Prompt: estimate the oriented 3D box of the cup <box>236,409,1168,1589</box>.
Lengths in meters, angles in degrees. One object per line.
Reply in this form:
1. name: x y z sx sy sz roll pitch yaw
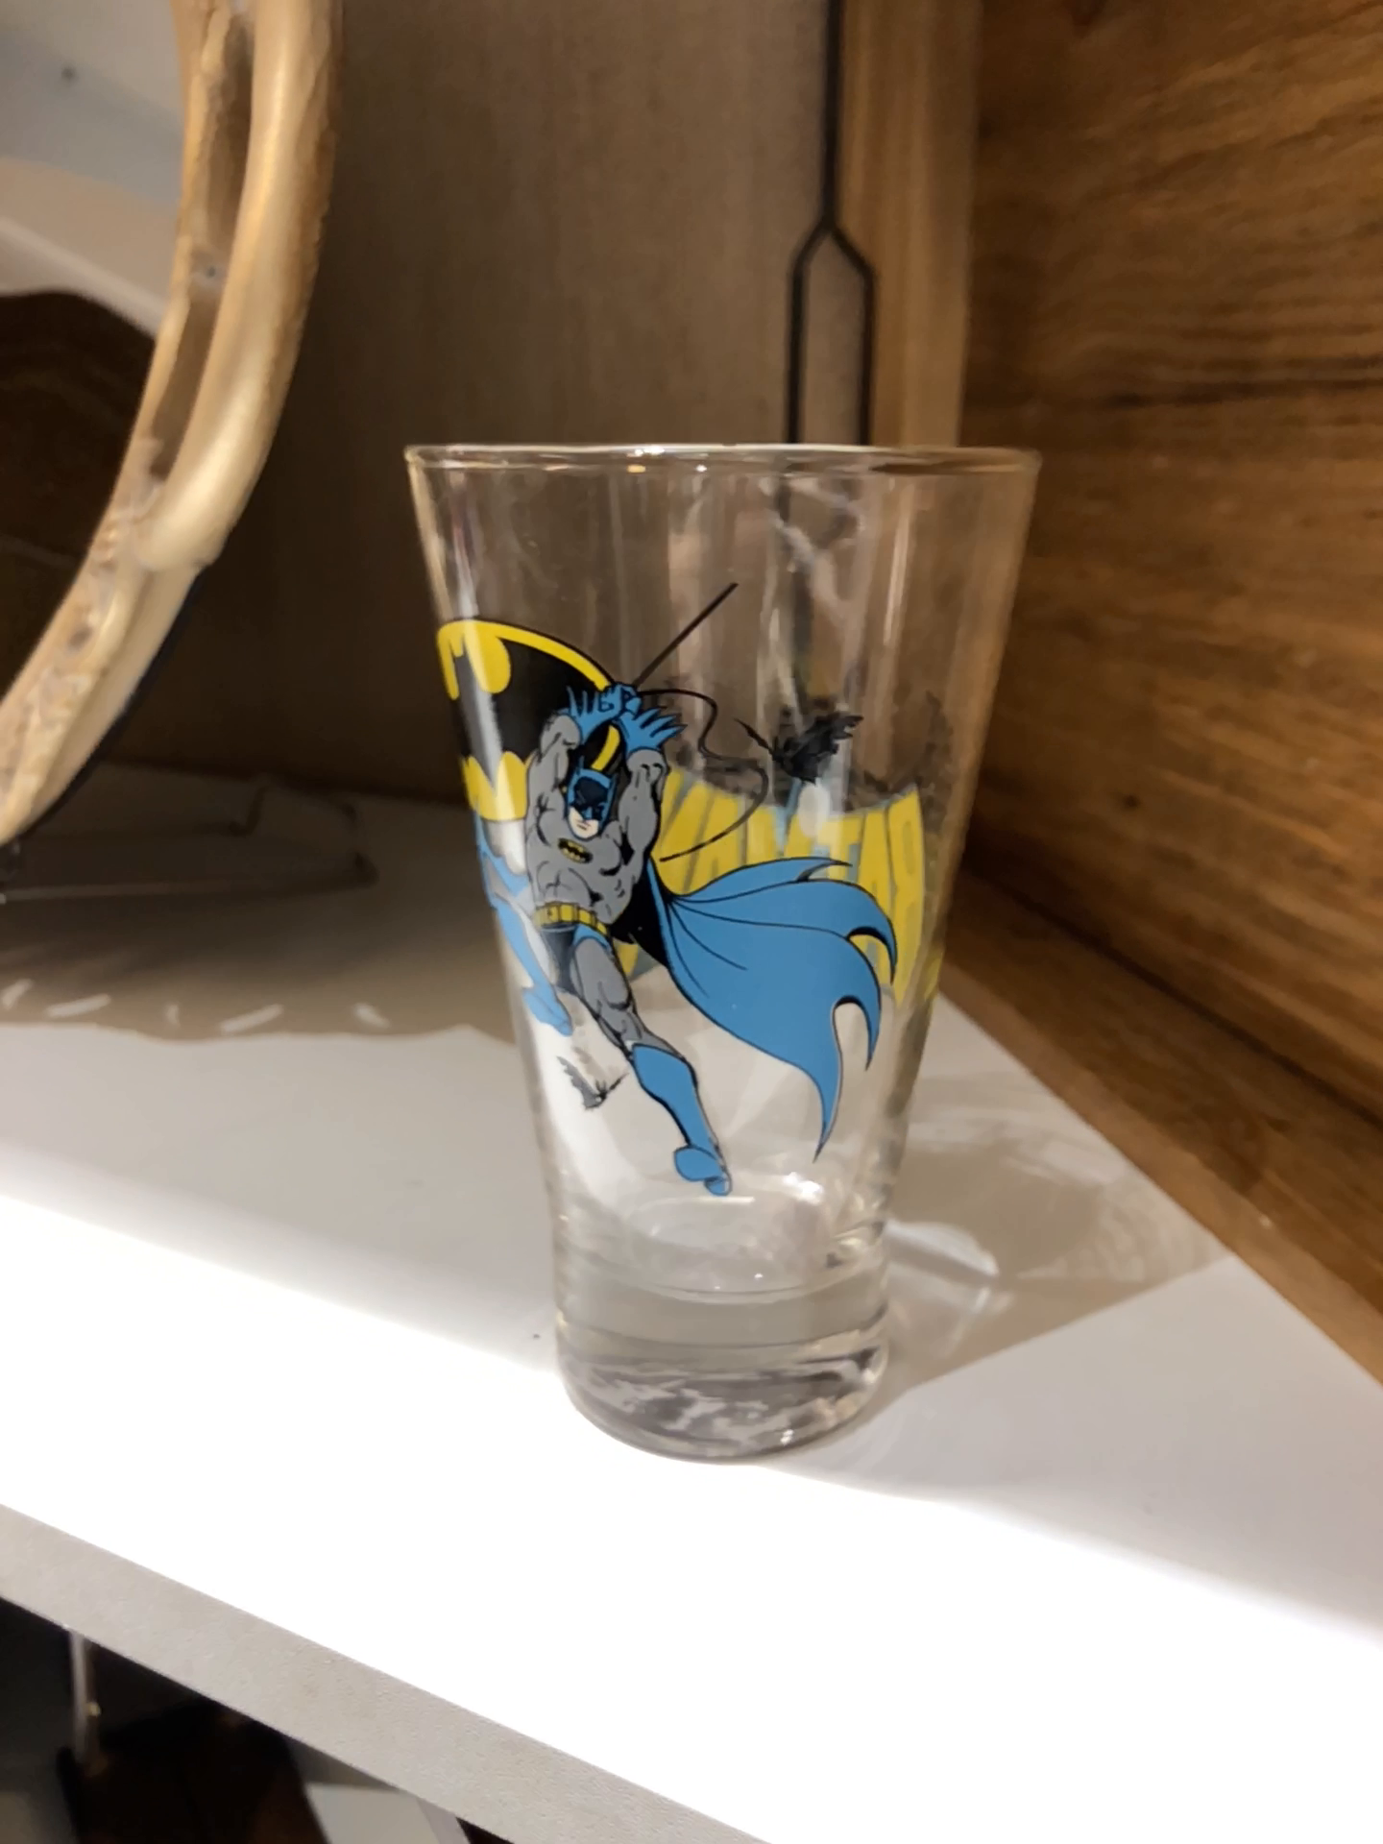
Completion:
1. cup: 0.003 -0.003 0.219 0.090 0.129 0.080 12 20 36
